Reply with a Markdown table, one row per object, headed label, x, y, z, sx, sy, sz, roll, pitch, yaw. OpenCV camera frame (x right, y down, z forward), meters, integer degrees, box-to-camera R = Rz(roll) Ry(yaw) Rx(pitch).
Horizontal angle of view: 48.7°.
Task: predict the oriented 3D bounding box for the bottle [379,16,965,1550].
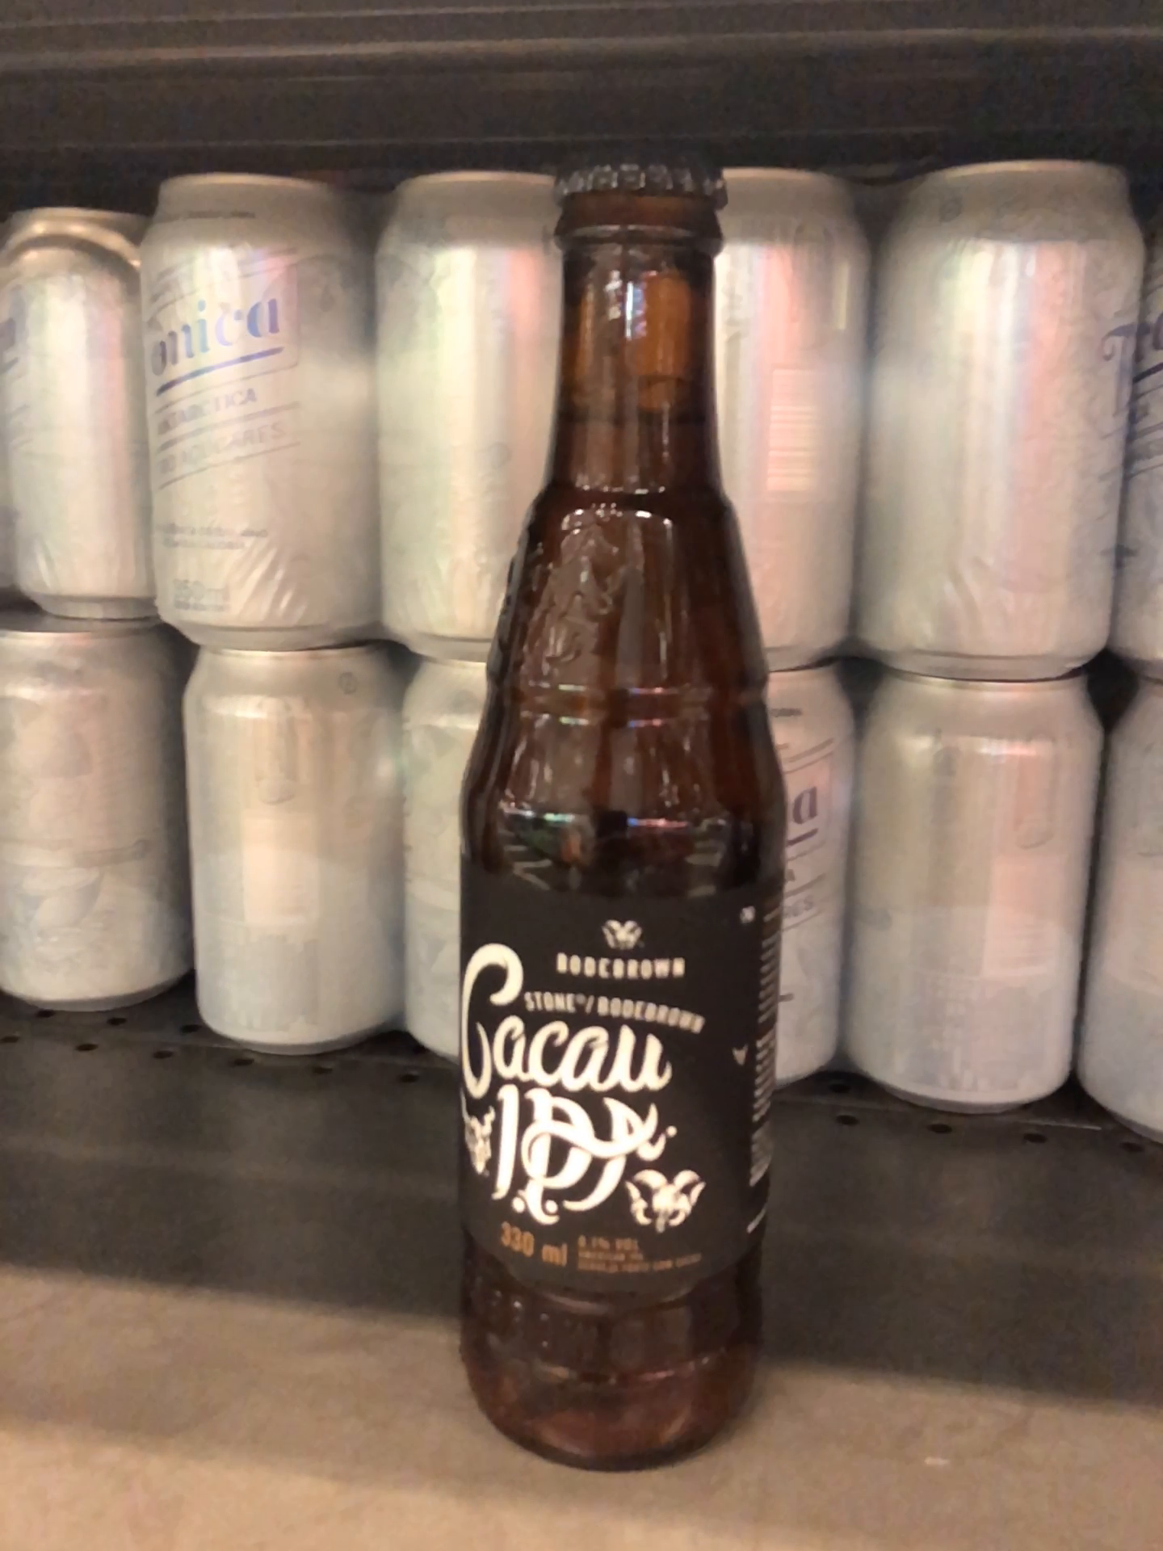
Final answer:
| label | x | y | z | sx | sy | sz | roll | pitch | yaw |
| --- | --- | --- | --- | --- | --- | --- | --- | --- | --- |
| bottle | 0.017 | 0.010 | 0.242 | 0.080 | 0.249 | 0.070 | 6 | 15 | 18 |
